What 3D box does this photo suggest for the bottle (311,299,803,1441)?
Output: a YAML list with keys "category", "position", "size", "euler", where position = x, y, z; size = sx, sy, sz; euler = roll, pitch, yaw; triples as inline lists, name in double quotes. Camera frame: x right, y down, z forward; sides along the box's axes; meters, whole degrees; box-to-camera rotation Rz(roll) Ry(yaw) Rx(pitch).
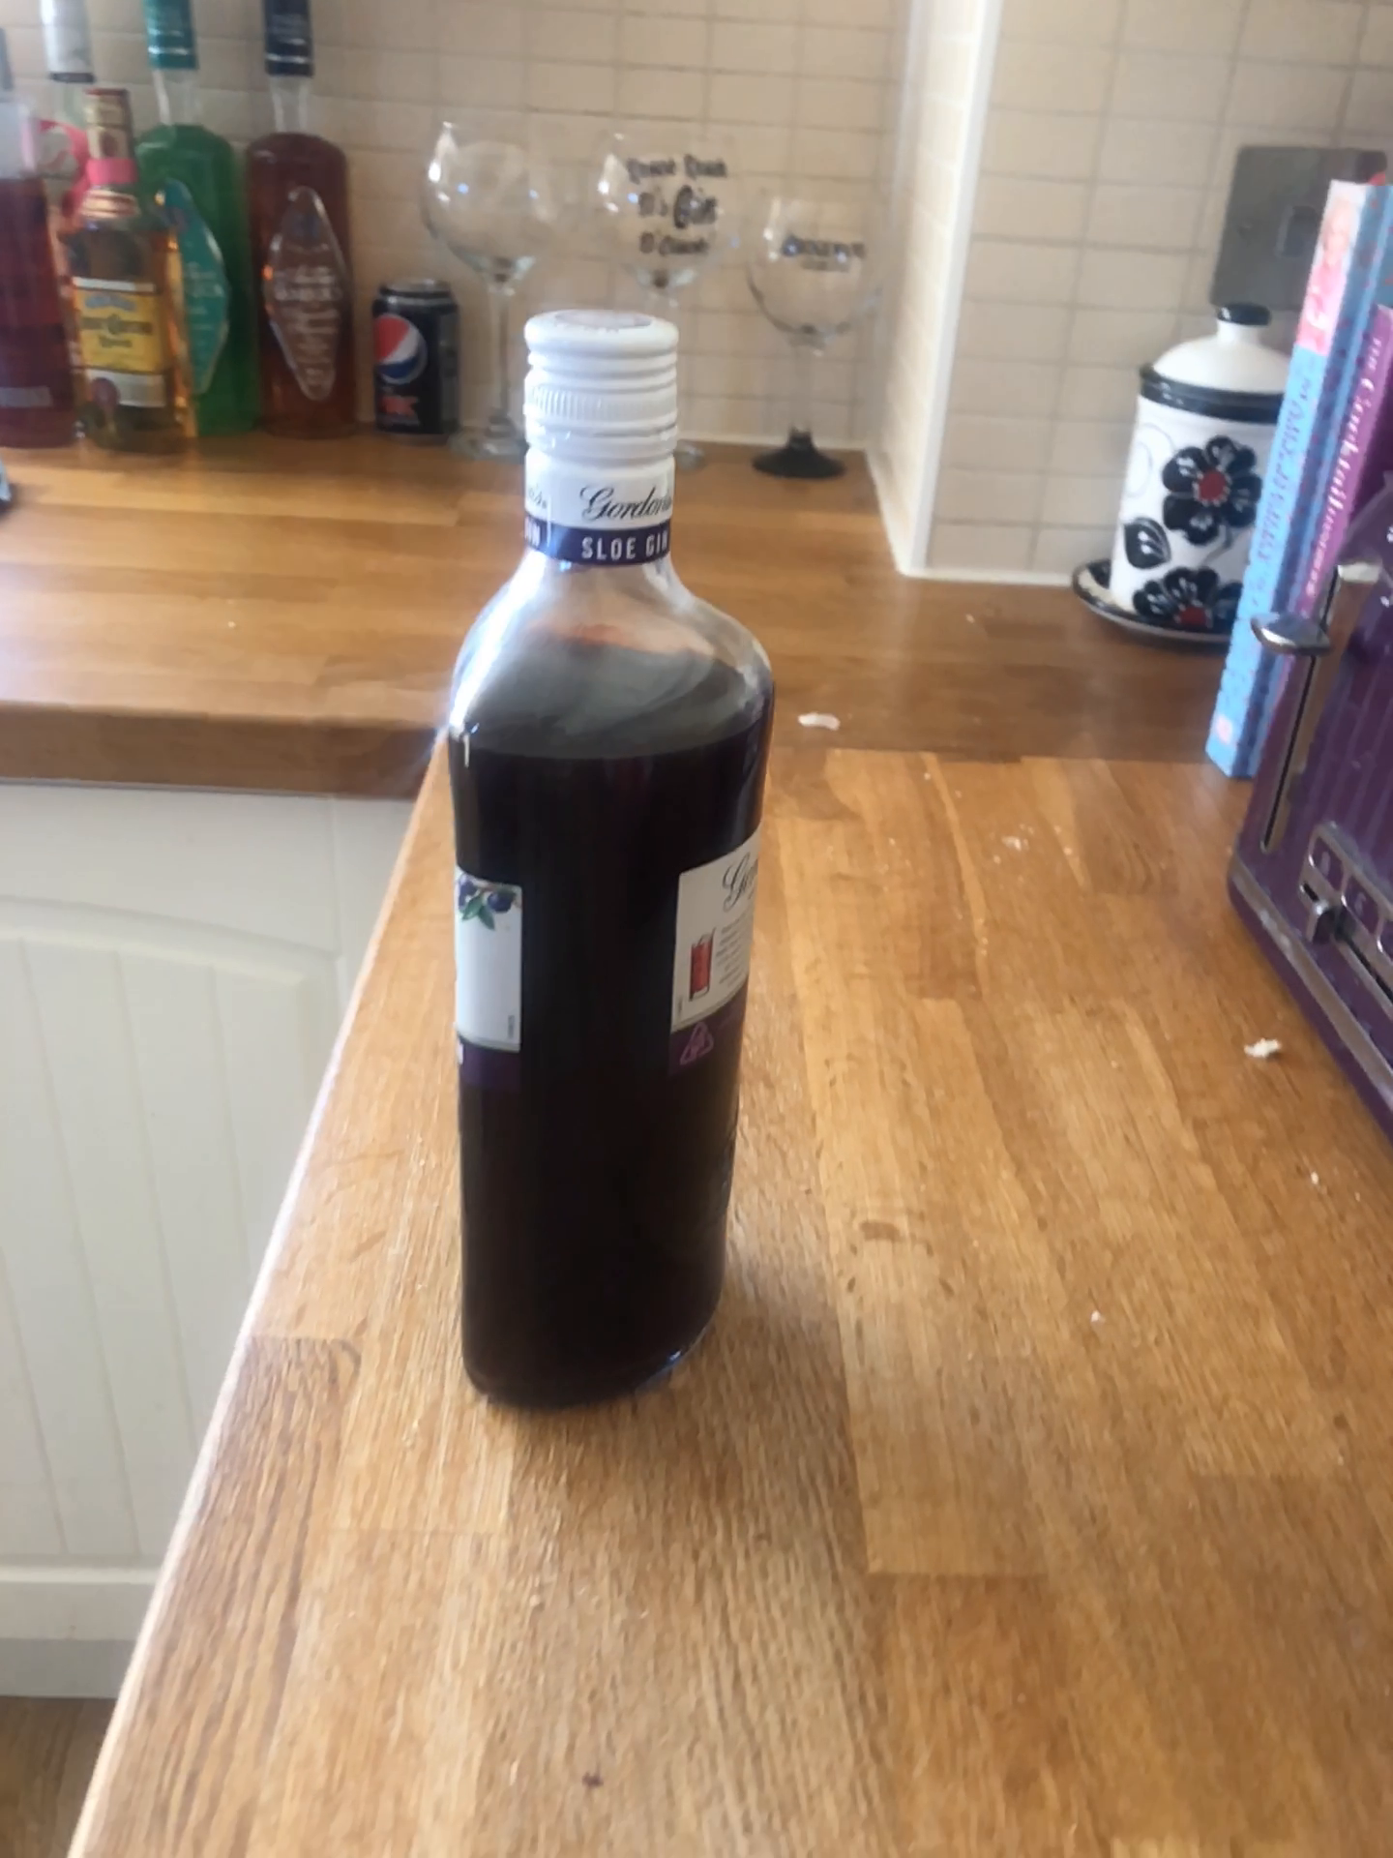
- category: "bottle"
  position: [-0.027, -0.009, 0.358]
  size: [0.080, 0.238, 0.101]
  euler: [5, 29, 3]
